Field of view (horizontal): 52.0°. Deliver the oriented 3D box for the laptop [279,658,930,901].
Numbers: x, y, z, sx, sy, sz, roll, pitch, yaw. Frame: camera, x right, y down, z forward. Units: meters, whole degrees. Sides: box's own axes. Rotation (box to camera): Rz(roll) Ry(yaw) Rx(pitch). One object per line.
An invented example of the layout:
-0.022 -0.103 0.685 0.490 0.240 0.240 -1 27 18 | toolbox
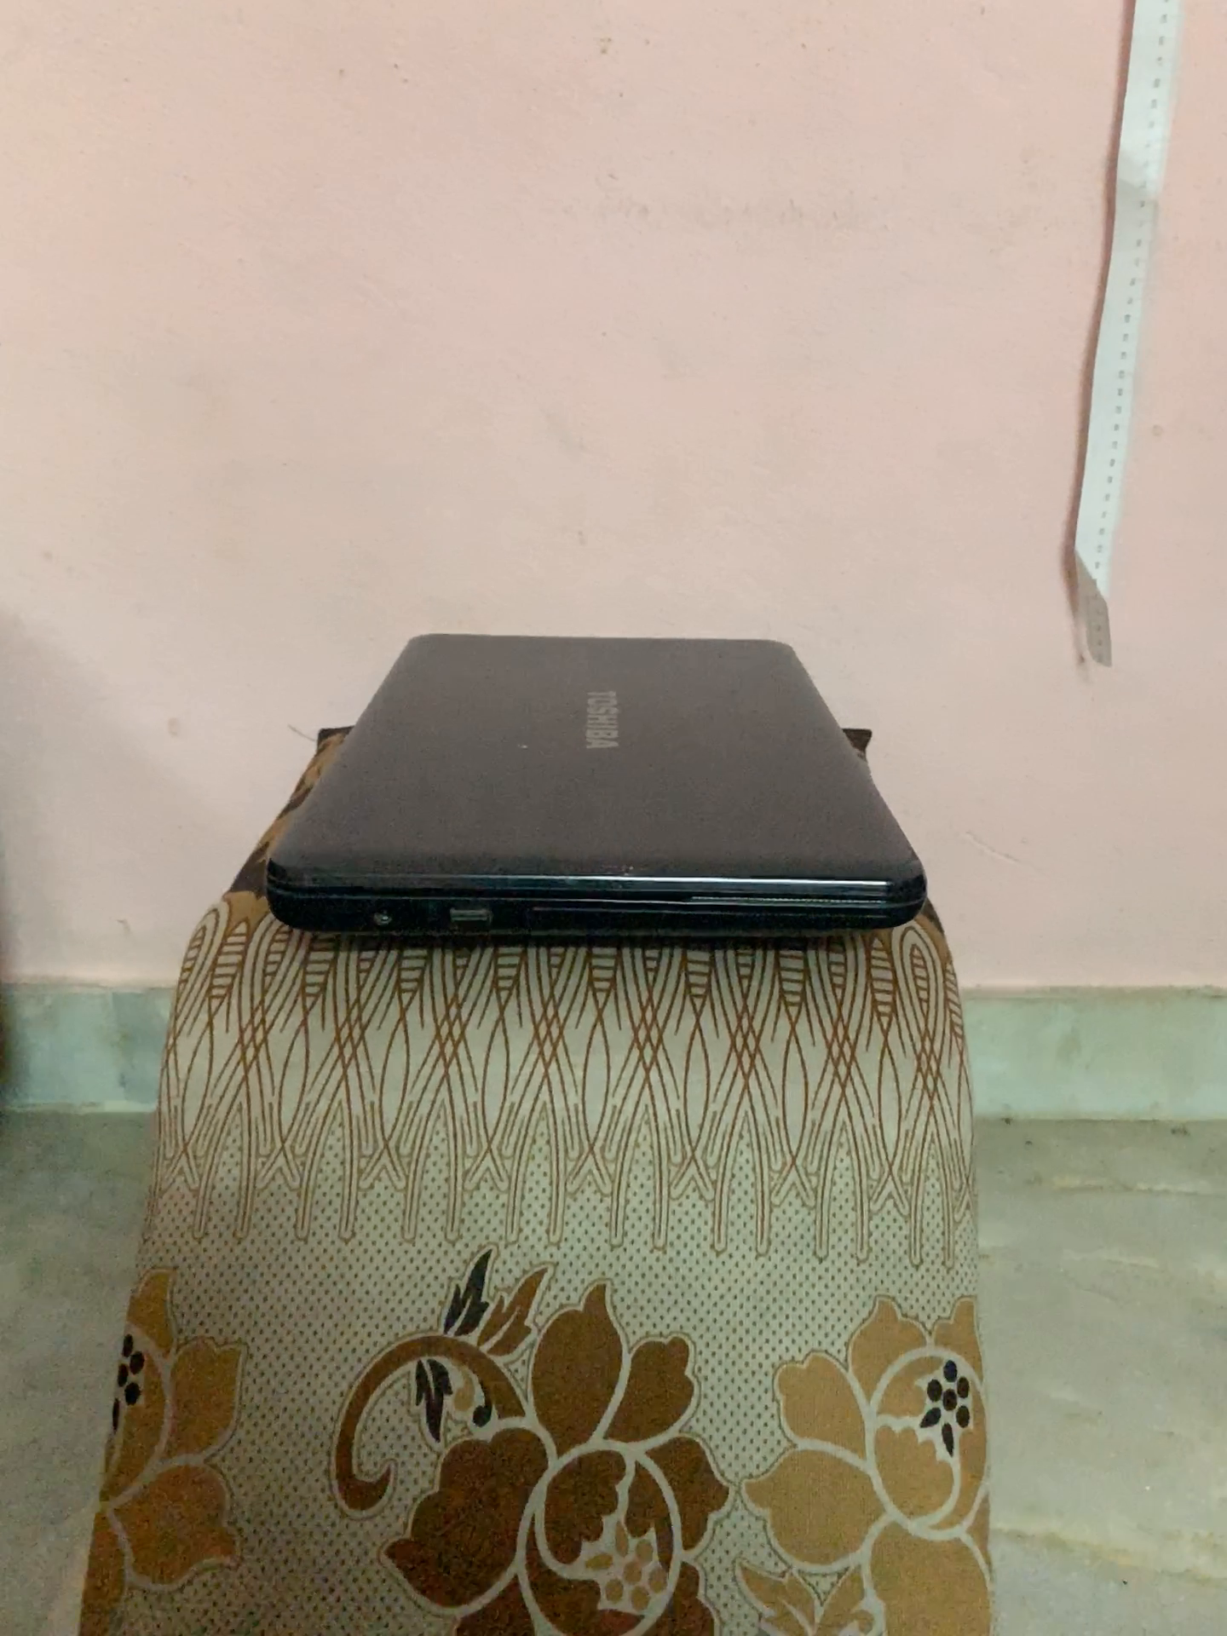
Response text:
-0.008 -0.035 0.605 0.222 0.001 0.371 0 20 -1 | laptop
